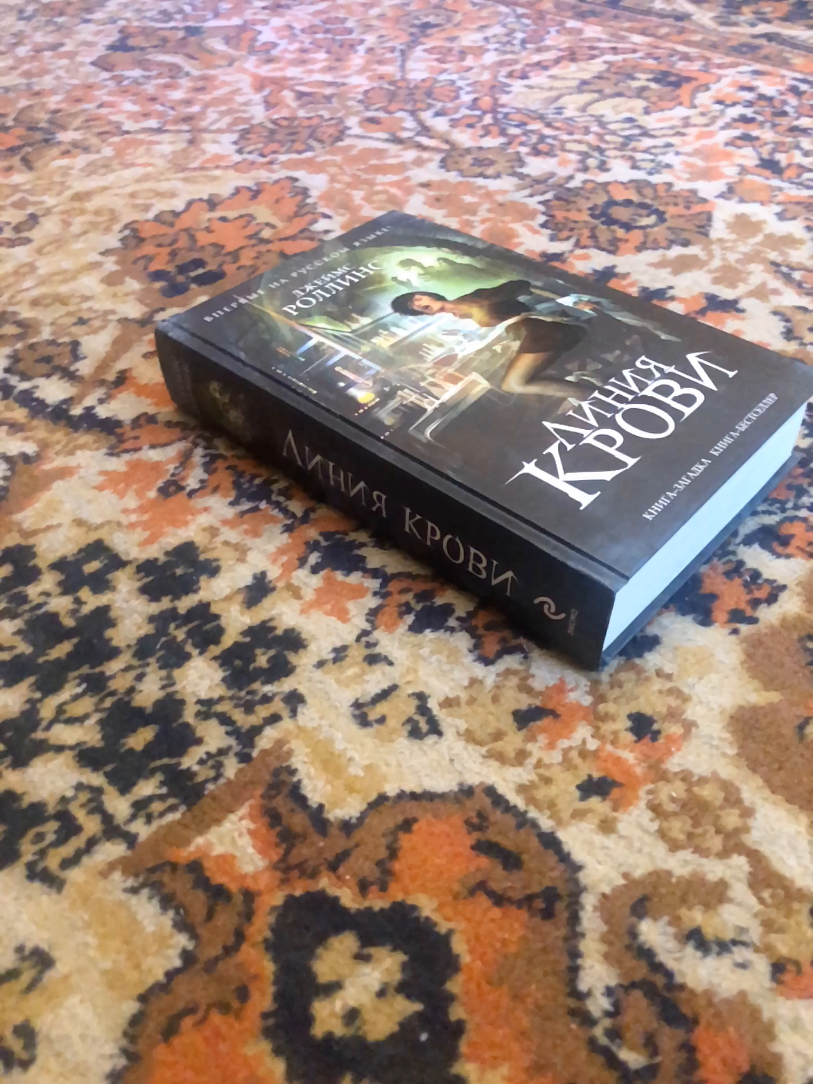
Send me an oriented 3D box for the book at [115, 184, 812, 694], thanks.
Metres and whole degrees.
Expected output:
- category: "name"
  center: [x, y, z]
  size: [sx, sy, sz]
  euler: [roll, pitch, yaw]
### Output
- category: "book"
  center: [0.026, -0.063, 0.347]
  size: [0.226, 0.040, 0.159]
  euler: [31, 52, 29]
